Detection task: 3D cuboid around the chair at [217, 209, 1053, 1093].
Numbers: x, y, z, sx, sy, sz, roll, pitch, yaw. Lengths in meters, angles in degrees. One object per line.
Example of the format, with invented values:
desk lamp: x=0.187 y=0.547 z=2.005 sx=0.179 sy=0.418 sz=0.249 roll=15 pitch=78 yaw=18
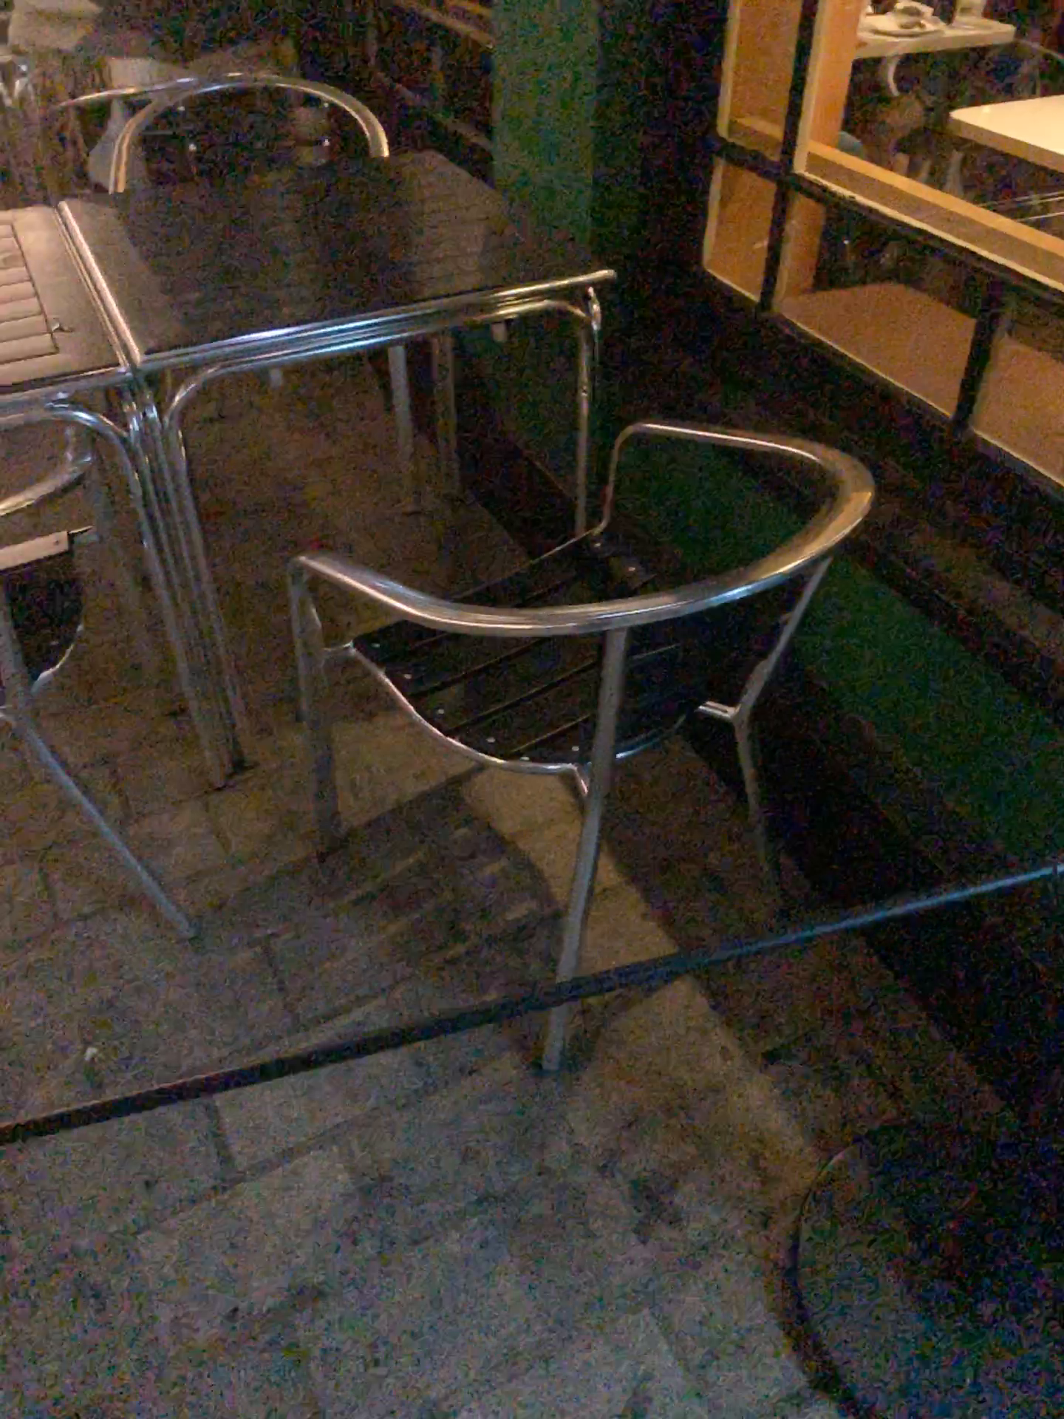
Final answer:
chair: x=0.100 y=-0.116 z=1.462 sx=0.662 sy=0.782 sz=0.654 roll=-28 pitch=48 yaw=-28
